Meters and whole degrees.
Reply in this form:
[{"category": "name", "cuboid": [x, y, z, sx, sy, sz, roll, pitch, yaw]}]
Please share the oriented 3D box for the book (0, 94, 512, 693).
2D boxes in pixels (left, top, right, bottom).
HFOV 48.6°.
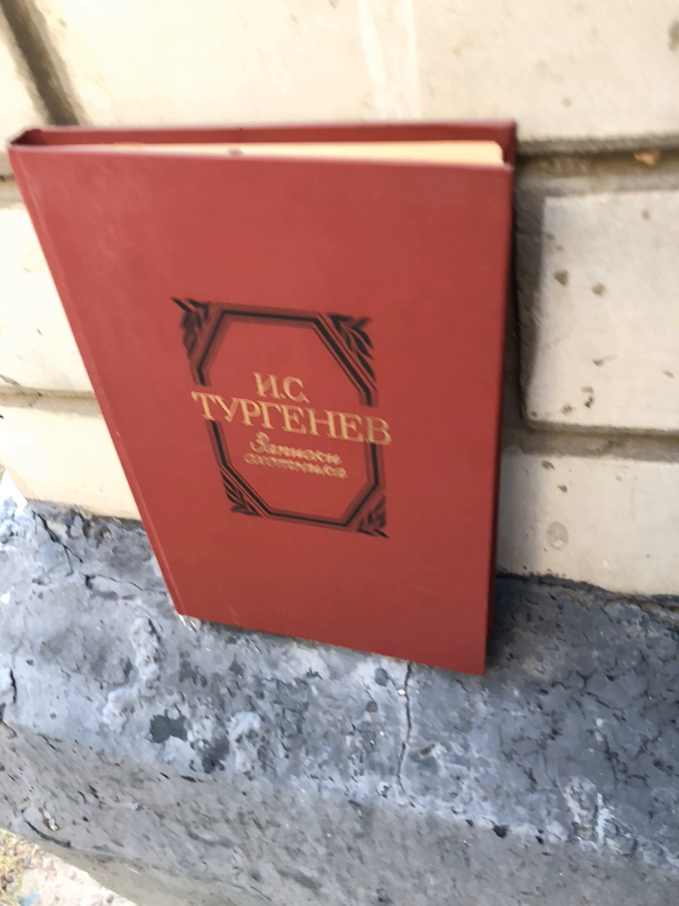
[{"category": "book", "cuboid": [-0.020, -0.005, 0.252, 0.147, 0.205, 0.026, 8, 43, 20]}]
